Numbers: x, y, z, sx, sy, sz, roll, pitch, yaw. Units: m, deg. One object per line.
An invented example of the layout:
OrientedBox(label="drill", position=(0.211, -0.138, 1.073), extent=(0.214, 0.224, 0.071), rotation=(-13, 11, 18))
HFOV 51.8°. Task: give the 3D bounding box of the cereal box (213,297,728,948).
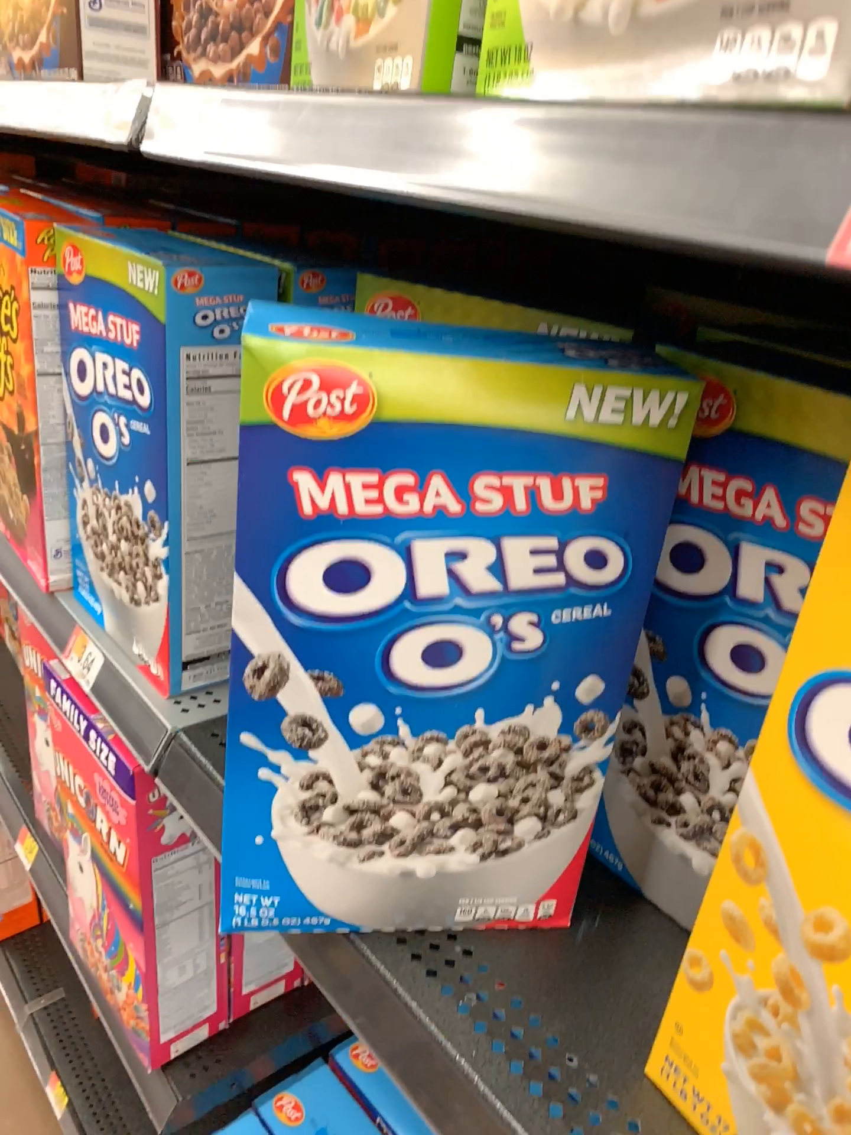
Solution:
OrientedBox(label="cereal box", position=(0.002, 0.044, 0.460), extent=(0.210, 0.328, 0.080), rotation=(2, 25, -11))
